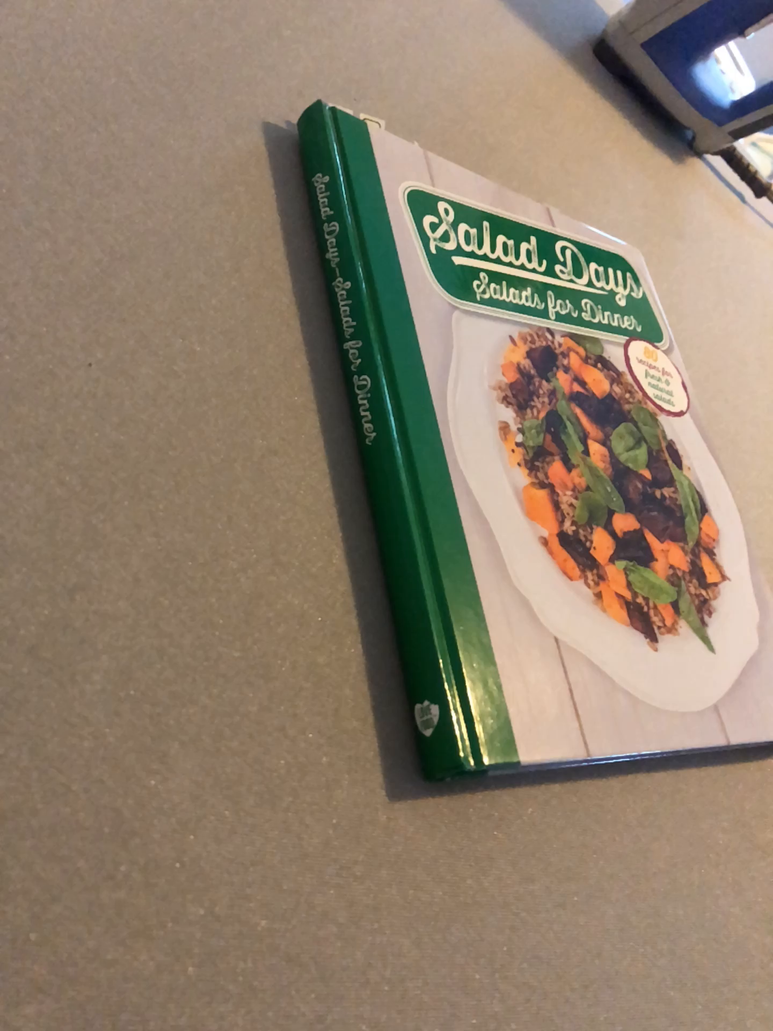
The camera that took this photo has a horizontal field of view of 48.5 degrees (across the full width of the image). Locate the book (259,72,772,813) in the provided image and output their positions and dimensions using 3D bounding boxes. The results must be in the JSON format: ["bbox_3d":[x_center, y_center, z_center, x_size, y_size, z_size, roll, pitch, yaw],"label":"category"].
[{"bbox_3d":[0.065,-0.034,0.351,0.214,0.020,0.275,8,59,-38],"label":"book"}]
